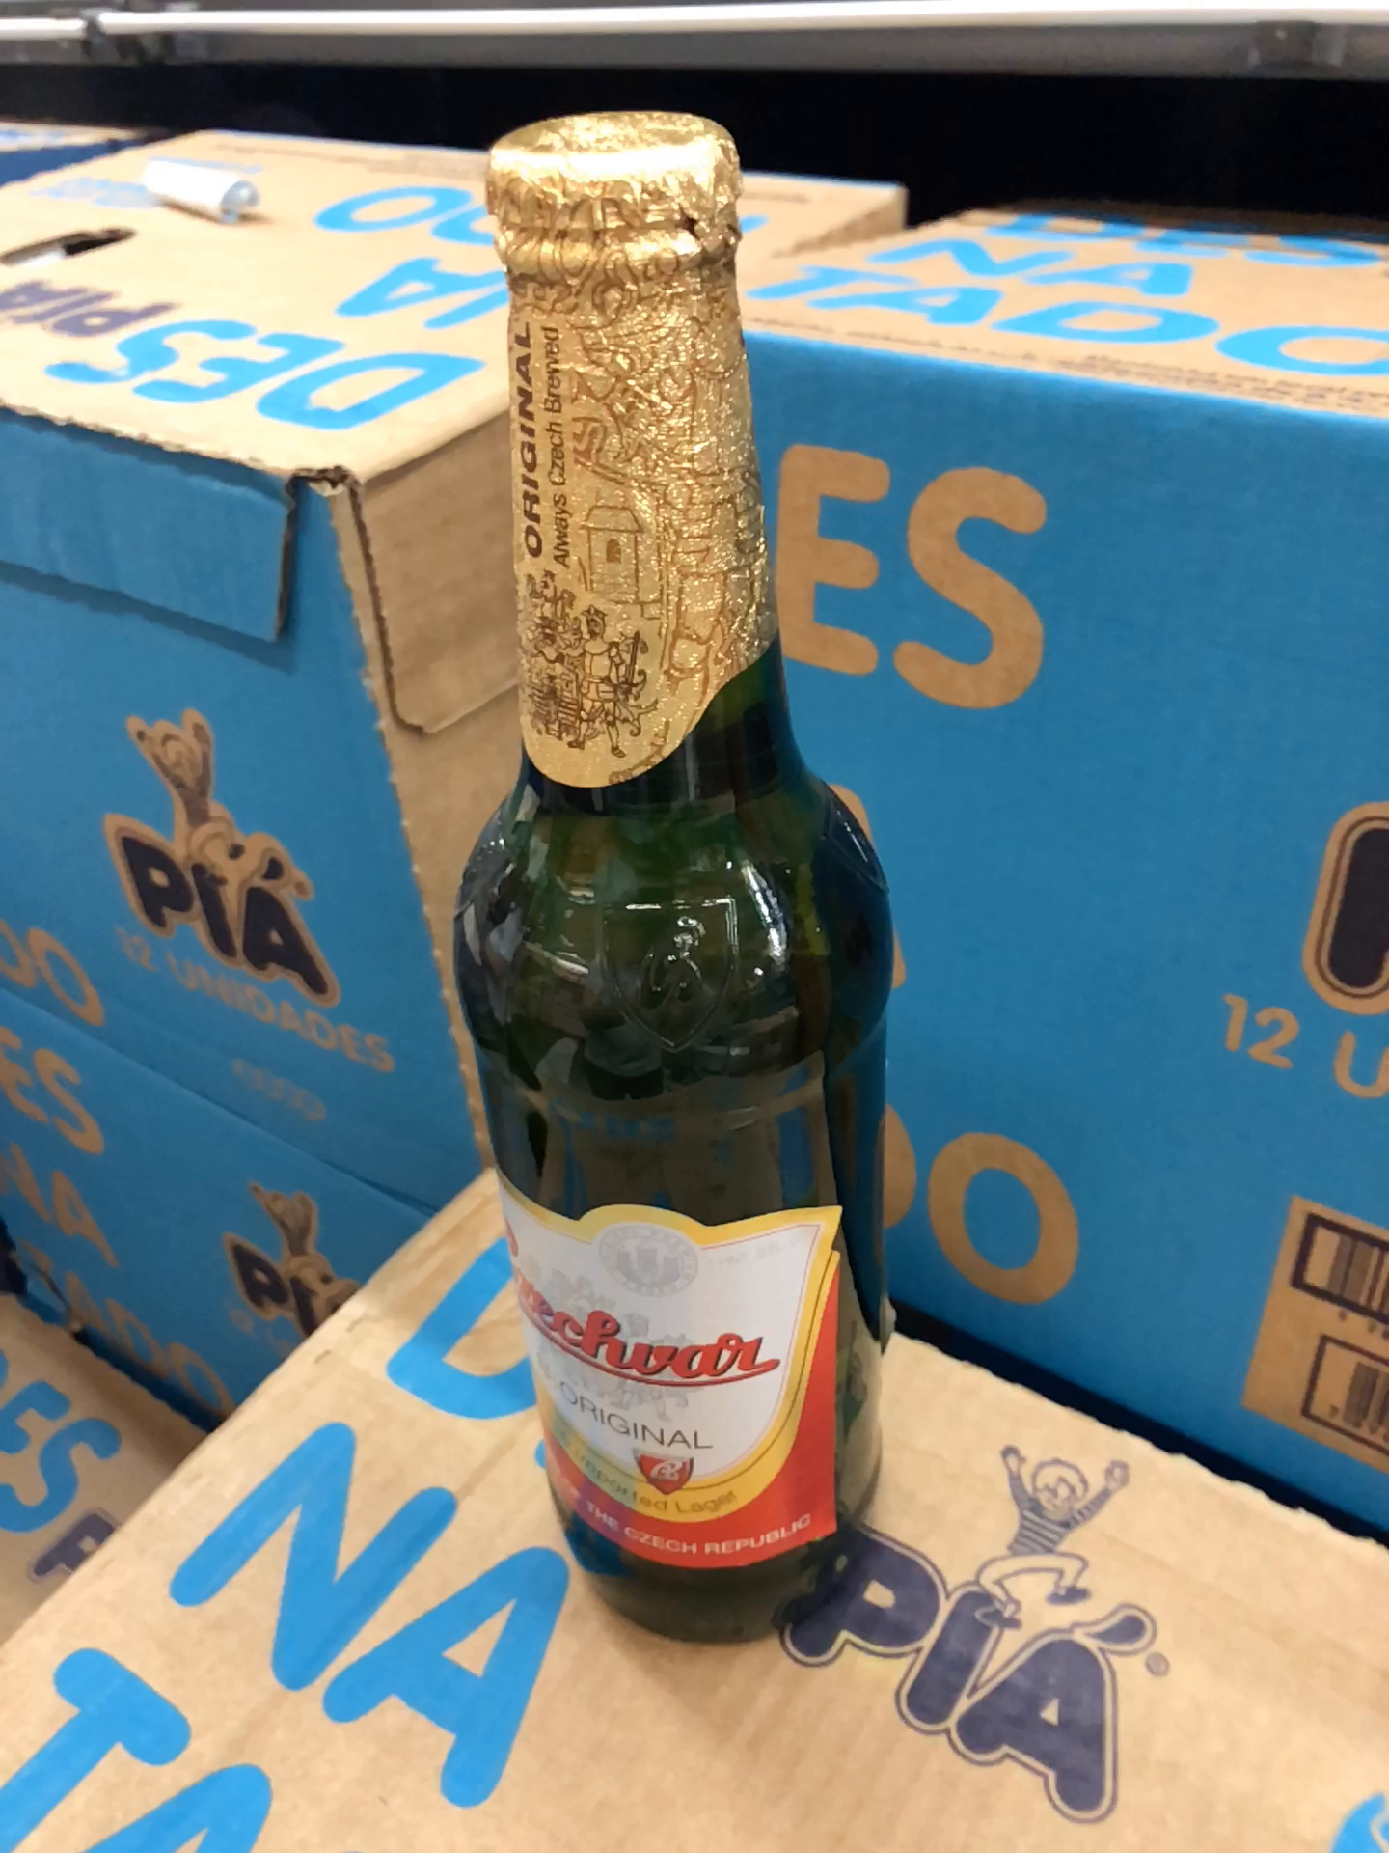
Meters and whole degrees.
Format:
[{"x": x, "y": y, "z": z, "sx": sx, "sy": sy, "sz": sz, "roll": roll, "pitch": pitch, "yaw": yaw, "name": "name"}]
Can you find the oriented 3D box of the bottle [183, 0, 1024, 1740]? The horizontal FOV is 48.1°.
[{"x": -0.004, "y": 0.007, "z": 0.248, "sx": 0.070, "sy": 0.268, "sz": 0.070, "roll": -1, "pitch": 32, "yaw": 1, "name": "bottle"}]
